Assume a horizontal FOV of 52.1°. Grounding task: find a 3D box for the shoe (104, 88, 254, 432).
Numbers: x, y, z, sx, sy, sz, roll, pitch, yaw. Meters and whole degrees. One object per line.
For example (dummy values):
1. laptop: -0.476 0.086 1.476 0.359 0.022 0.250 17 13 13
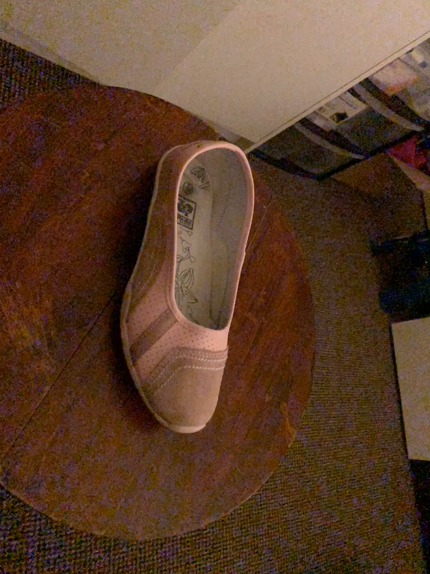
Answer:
1. shoe: -0.026 -0.019 0.376 0.090 0.070 0.271 14 67 -37
